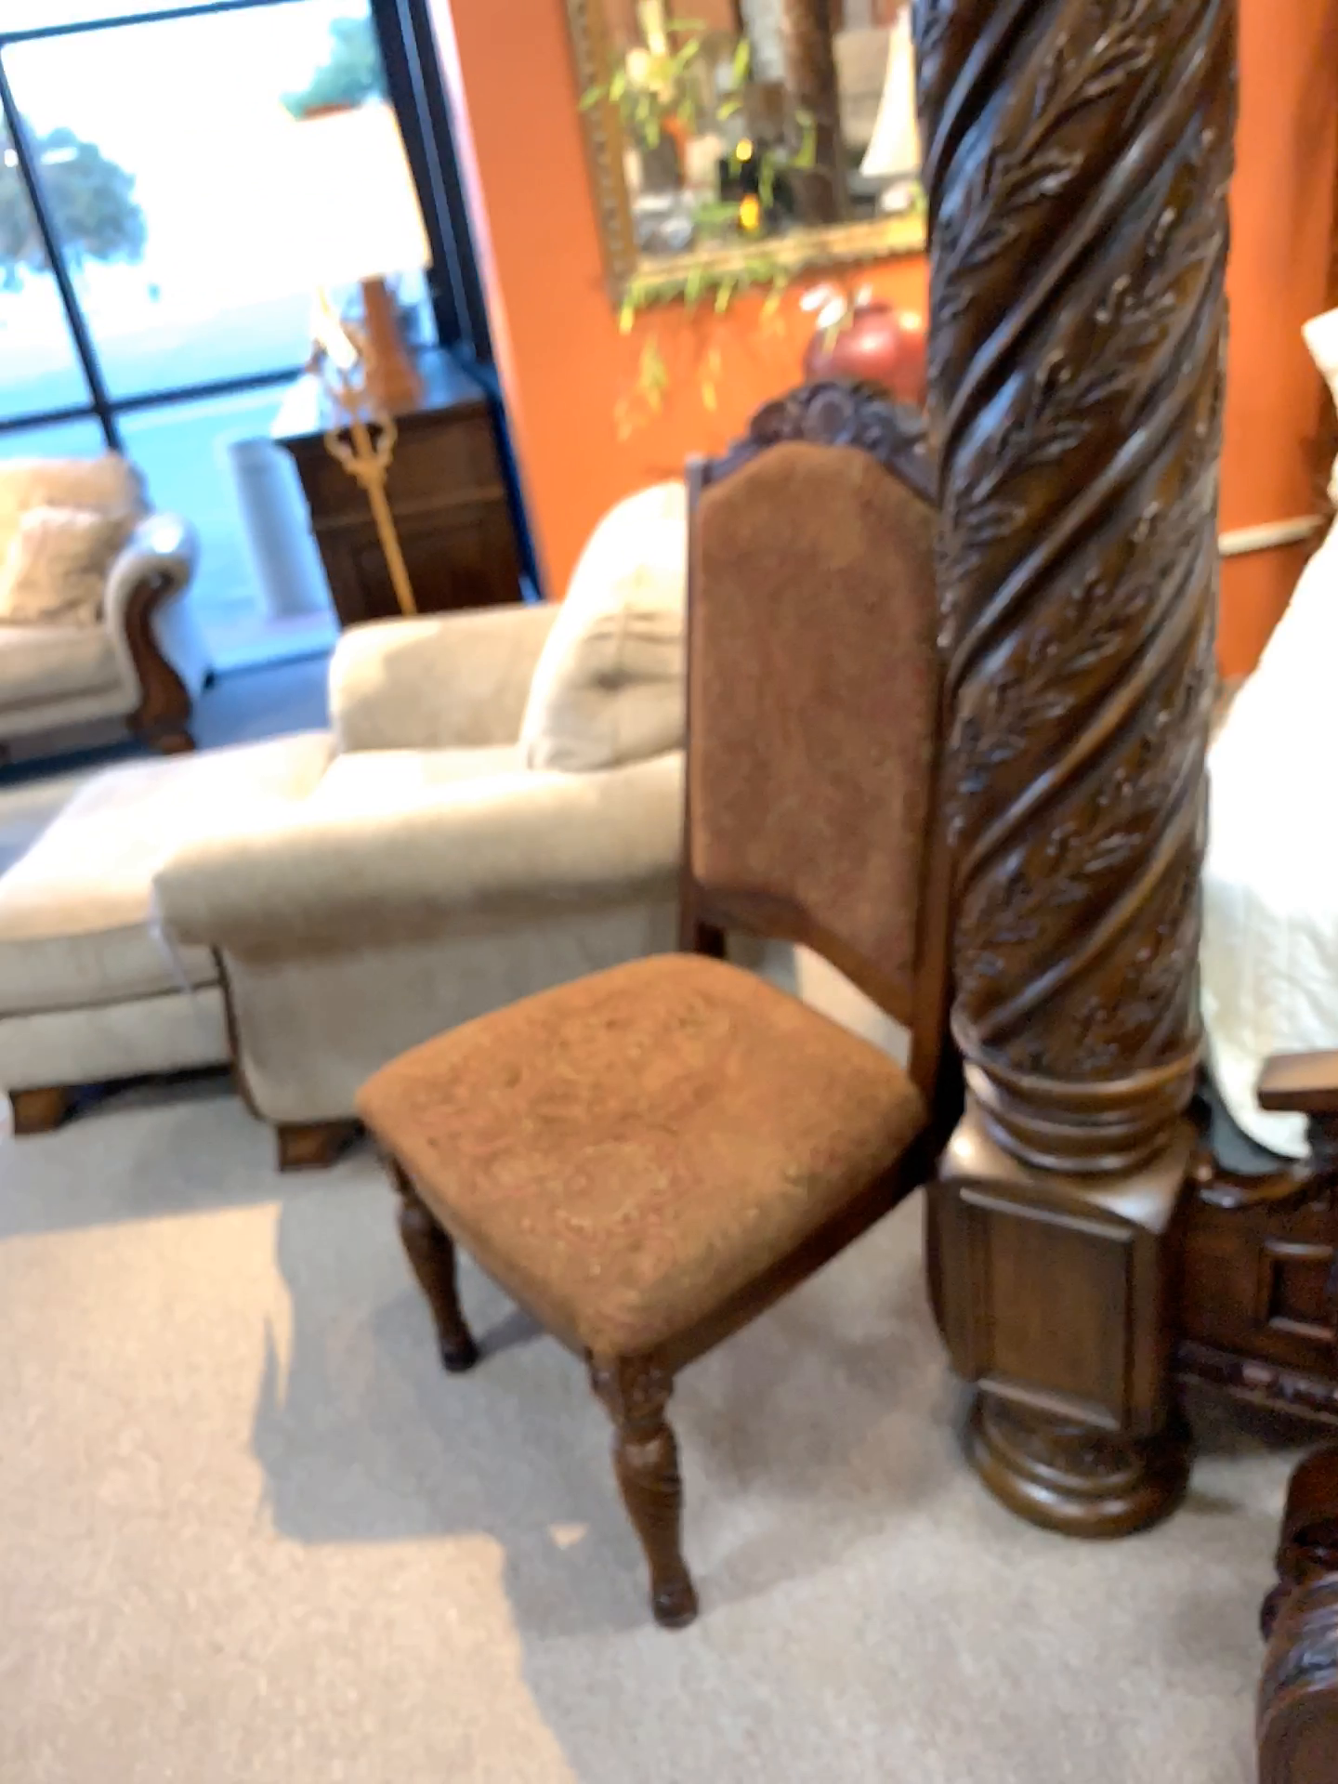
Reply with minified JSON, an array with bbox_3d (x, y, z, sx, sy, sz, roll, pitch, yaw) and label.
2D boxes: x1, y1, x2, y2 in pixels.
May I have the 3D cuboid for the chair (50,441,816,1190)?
[{"bbox_3d":[-0.267,-0.169,2.320,0.897,0.865,0.884,-6,26,6],"label":"chair"}]

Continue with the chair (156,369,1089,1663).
[{"bbox_3d":[0.006,0.076,1.535,0.638,1.123,0.592,-25,30,-28],"label":"chair"}]
